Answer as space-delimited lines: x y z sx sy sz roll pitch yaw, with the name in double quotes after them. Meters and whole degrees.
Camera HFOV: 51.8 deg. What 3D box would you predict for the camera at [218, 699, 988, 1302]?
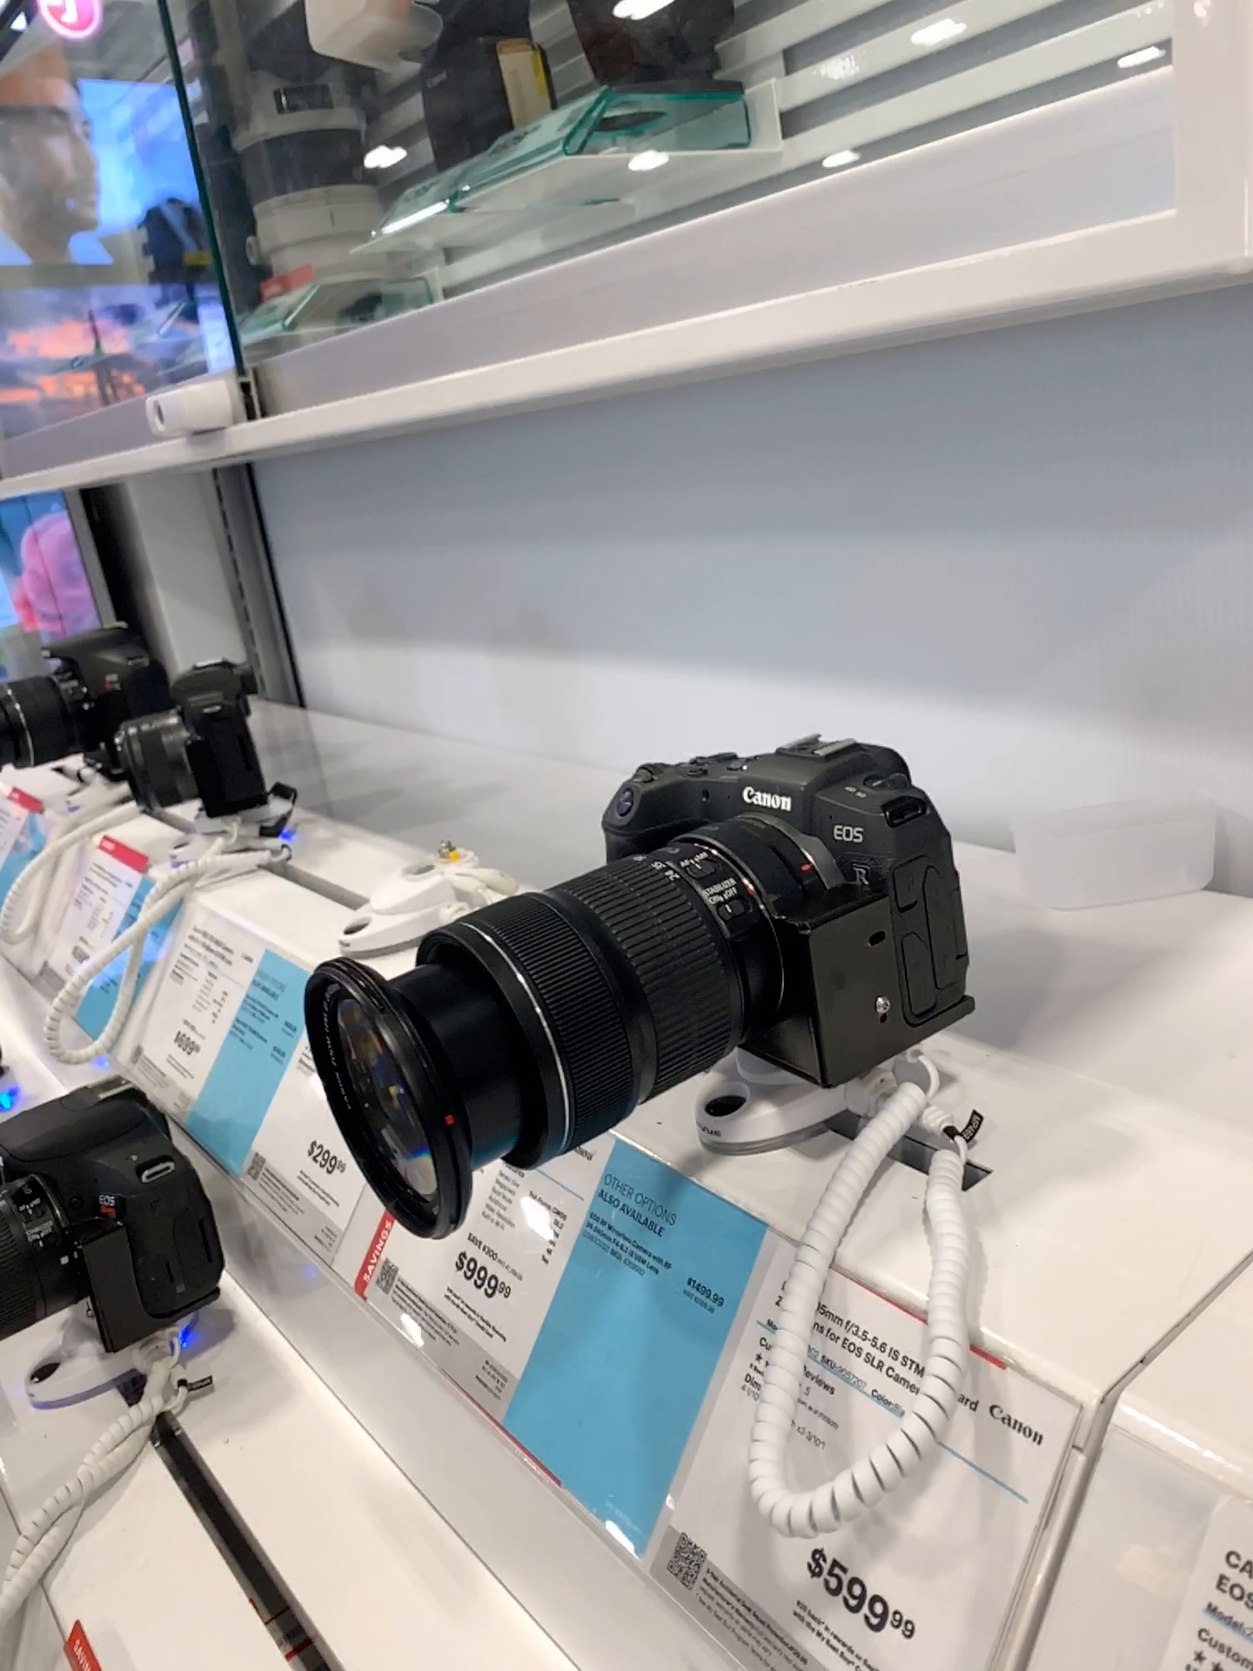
-0.005 0.033 0.423 0.199 0.100 0.132 -20 20 -30 "camera"
